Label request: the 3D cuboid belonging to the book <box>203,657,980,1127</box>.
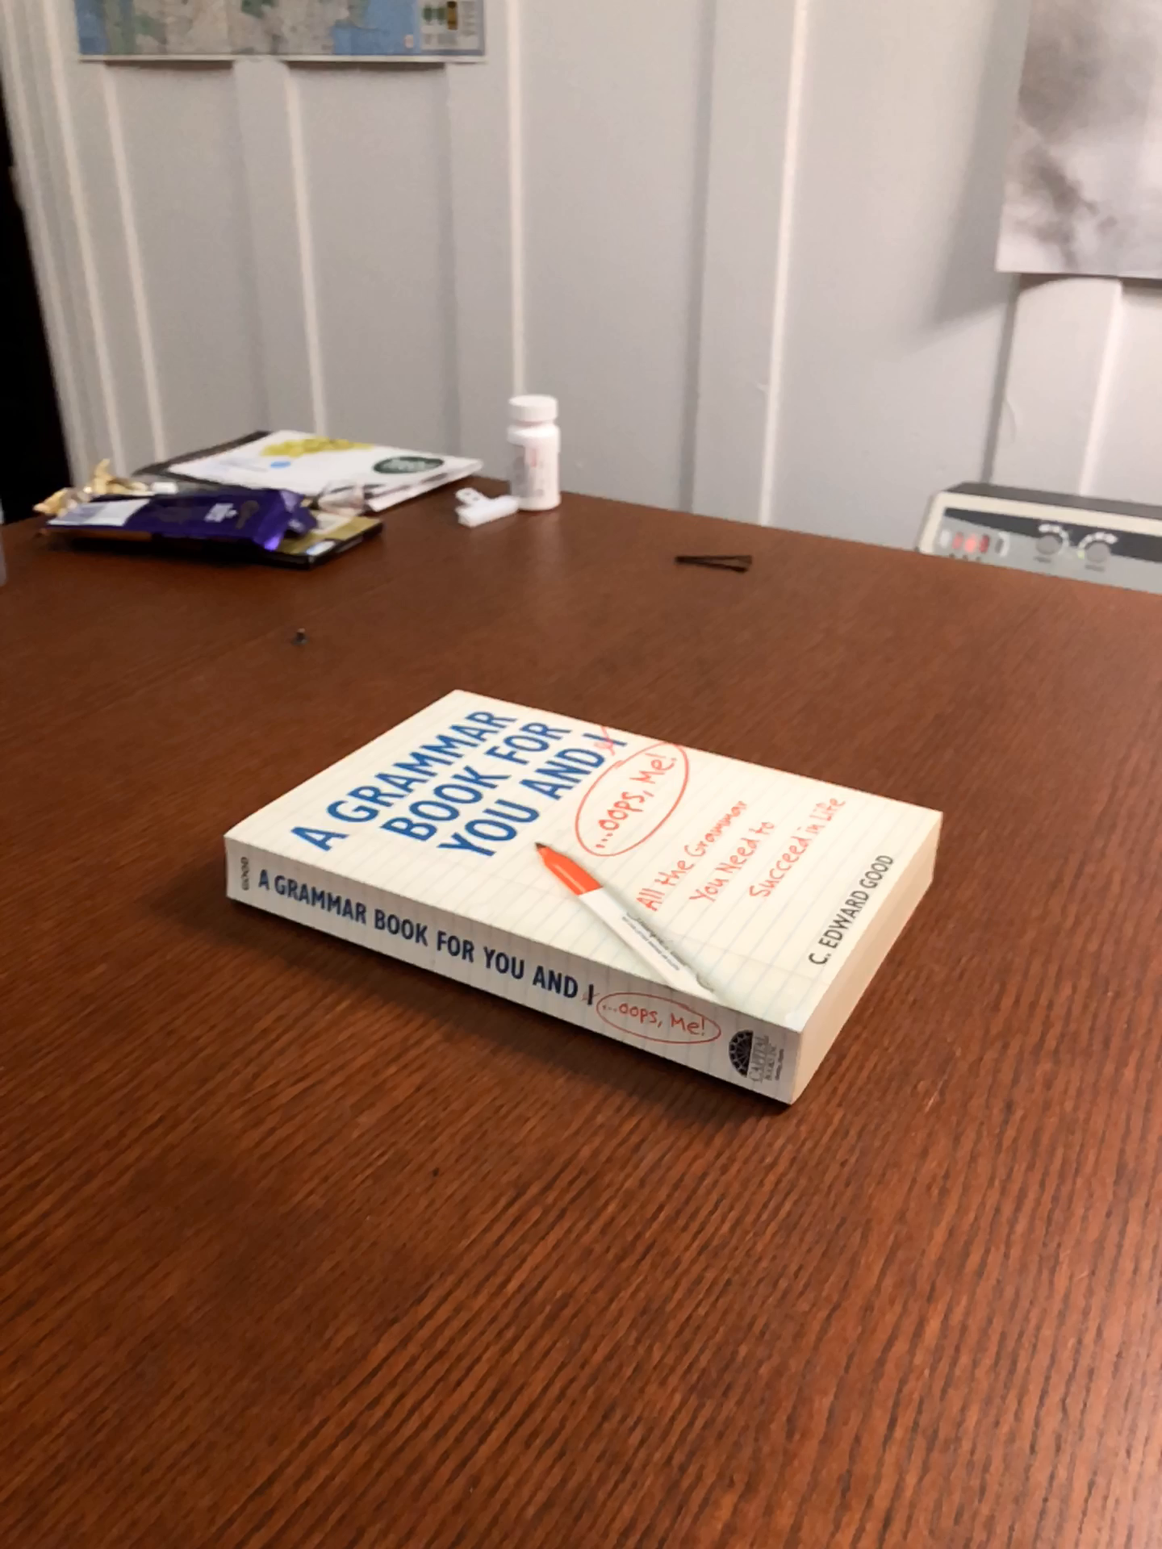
[{"bbox_3d":[0.008,0.025,0.492,0.240,0.040,0.171,15,31,25],"label":"book"}]
